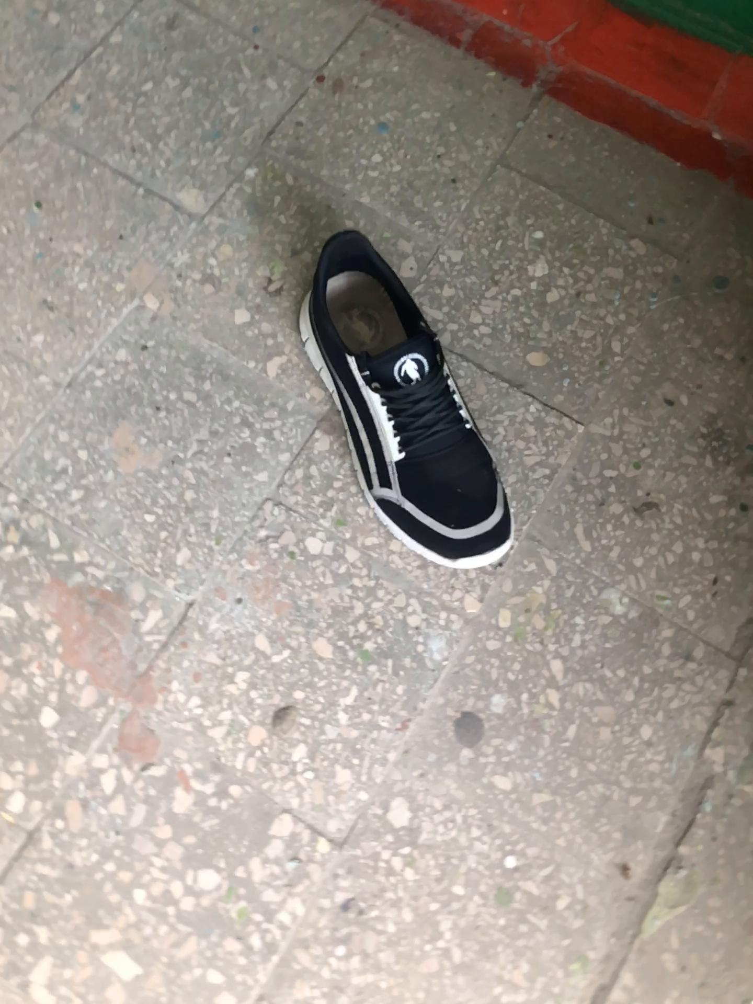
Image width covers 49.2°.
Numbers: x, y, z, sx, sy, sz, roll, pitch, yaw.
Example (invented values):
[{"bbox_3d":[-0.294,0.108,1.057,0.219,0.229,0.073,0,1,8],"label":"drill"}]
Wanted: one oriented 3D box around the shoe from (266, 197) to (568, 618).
[{"bbox_3d":[0.021,-0.069,0.628,0.100,0.120,0.280,-23,76,-9],"label":"shoe"}]
